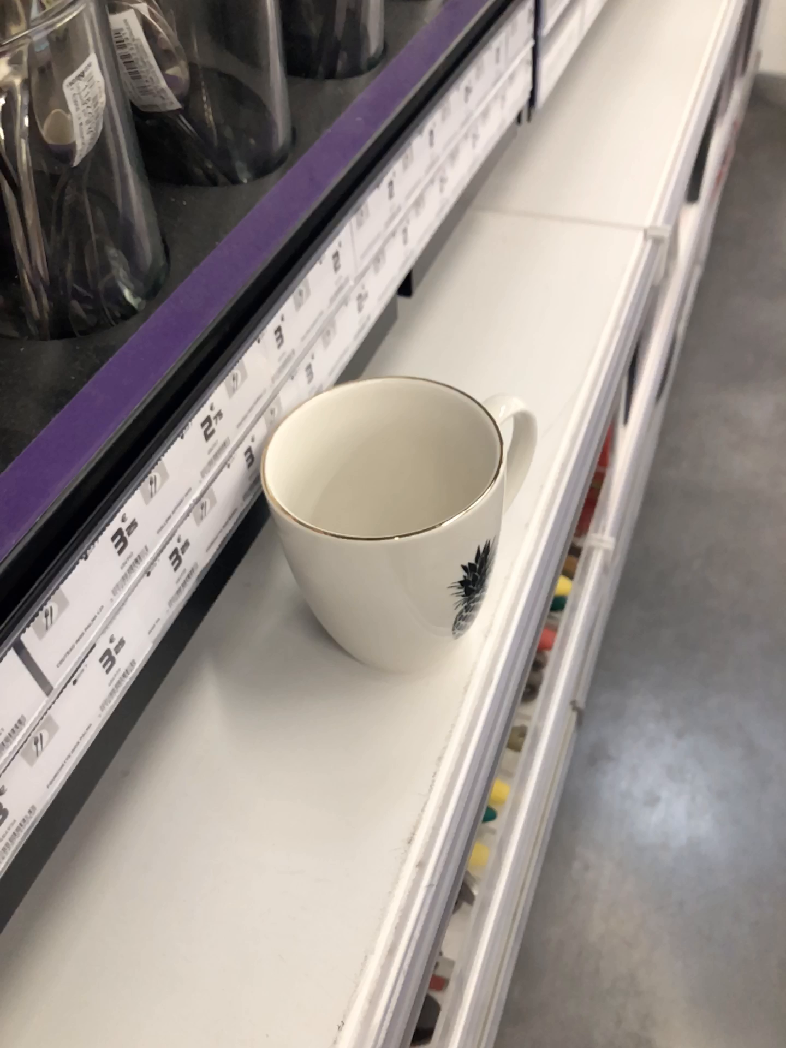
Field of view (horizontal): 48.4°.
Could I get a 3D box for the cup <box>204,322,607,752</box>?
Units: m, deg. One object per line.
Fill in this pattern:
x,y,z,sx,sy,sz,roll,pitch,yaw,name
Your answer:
0.007,0.003,0.339,0.115,0.093,0.082,-35,56,-24,cup
